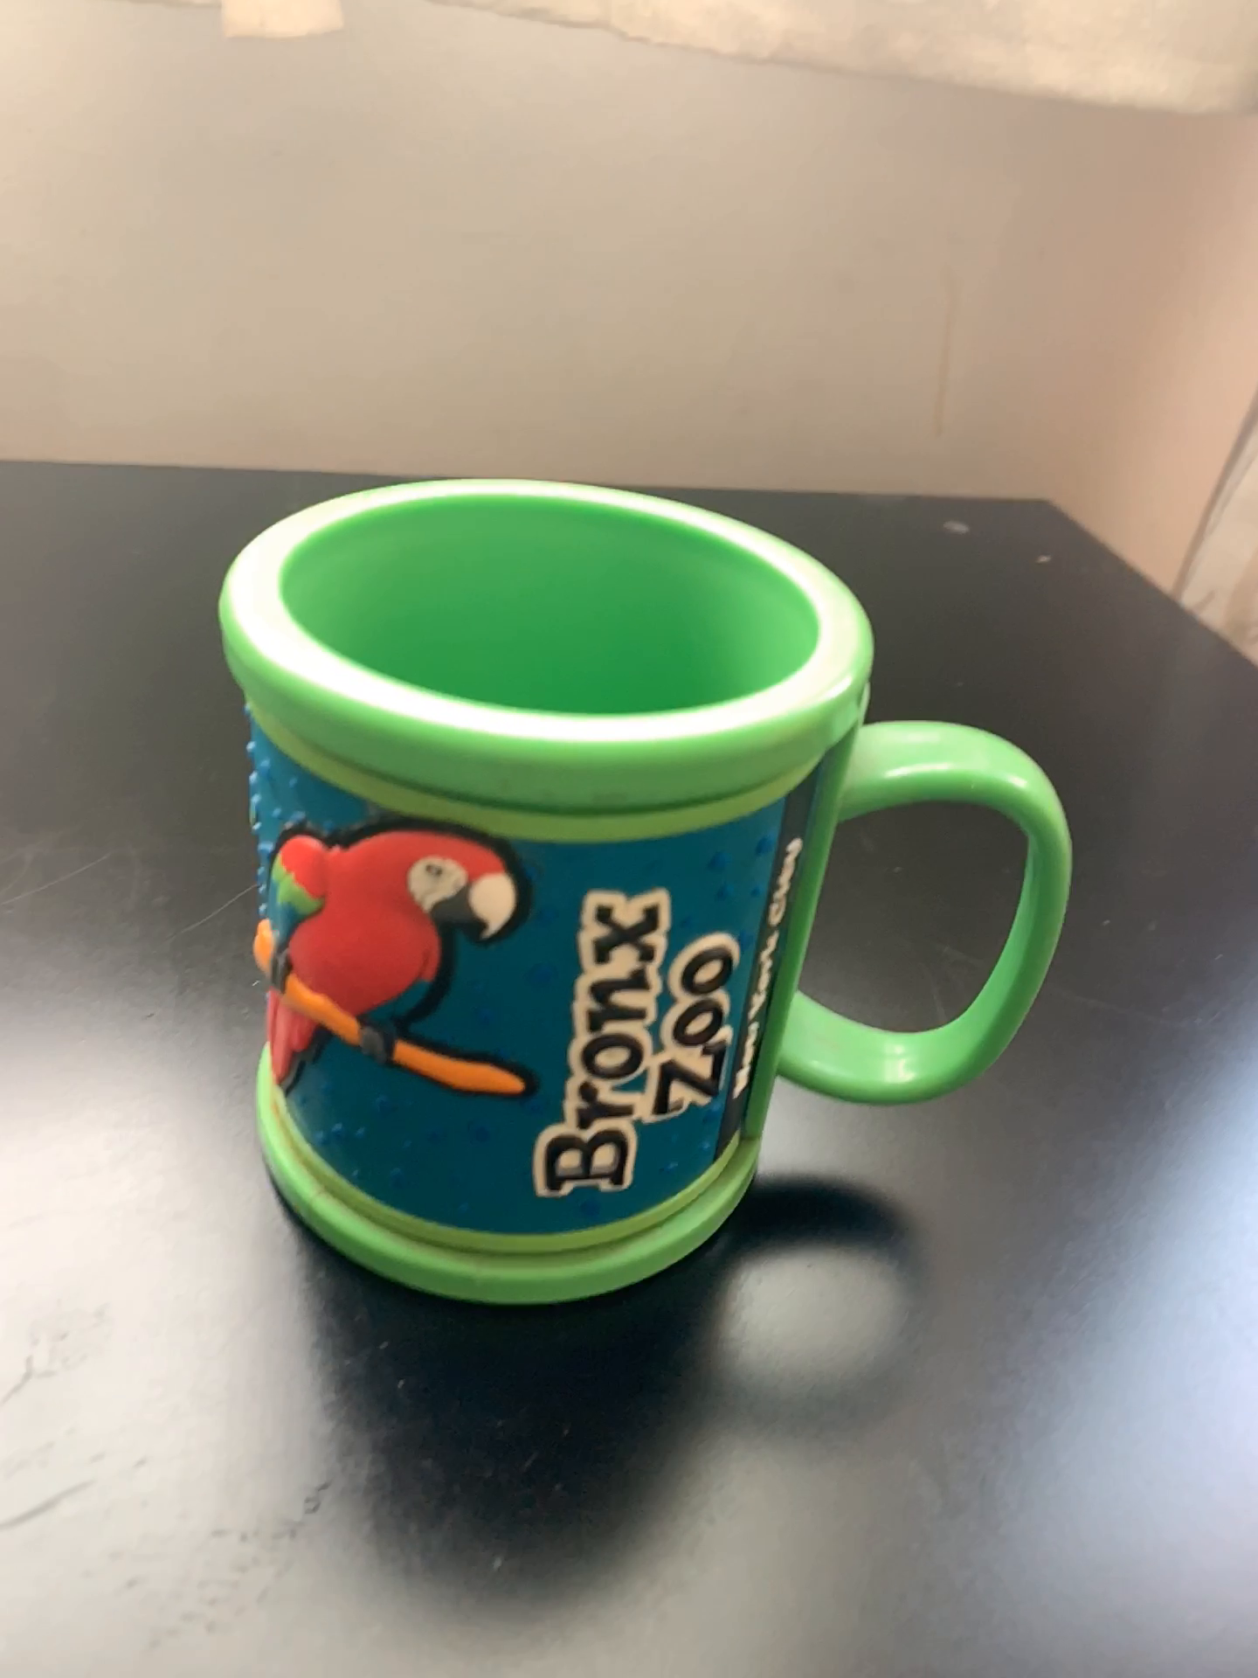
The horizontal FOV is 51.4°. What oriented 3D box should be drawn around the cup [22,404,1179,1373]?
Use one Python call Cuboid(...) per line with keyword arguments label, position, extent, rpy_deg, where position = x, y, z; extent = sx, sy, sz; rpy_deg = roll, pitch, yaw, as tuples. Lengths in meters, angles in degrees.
Cuboid(label="cup", position=(-0.005, 0.004, 0.194), extent=(0.120, 0.099, 0.081), rpy_deg=(8, 32, 2))
